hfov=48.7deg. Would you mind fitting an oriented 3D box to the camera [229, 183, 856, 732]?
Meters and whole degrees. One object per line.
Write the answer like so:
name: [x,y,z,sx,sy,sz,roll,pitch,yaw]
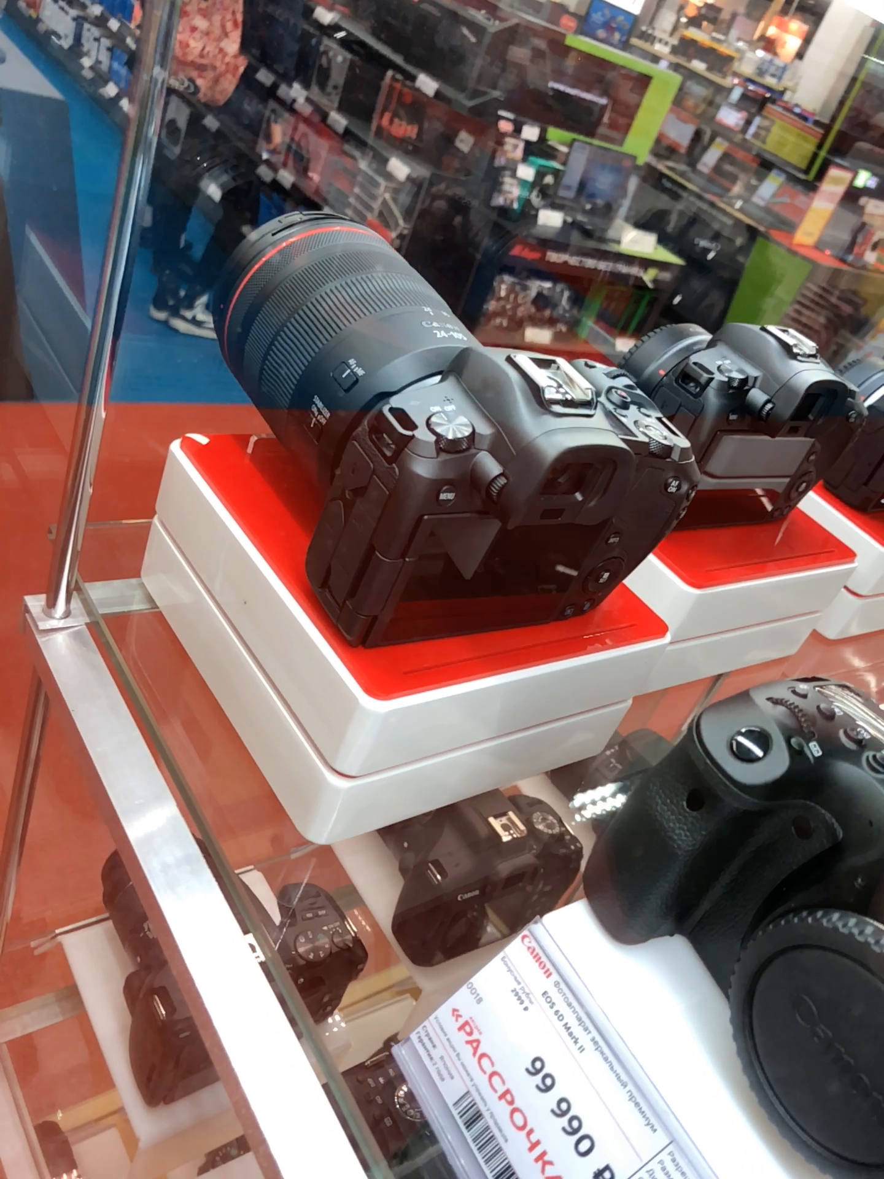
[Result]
camera: [0.028,-0.060,0.391,0.140,0.110,0.184,-6,44,-38]
